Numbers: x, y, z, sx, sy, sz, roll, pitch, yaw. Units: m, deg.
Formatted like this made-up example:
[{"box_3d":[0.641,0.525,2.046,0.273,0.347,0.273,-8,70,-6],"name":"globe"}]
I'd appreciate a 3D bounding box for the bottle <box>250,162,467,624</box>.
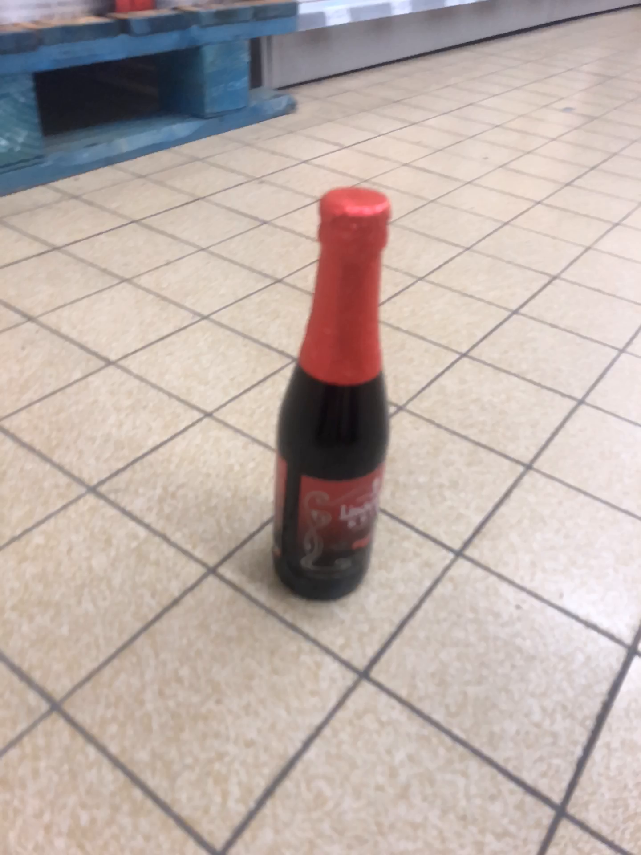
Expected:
[{"box_3d":[0.010,-0.007,0.319,0.060,0.199,0.060,3,37,-2],"name":"bottle"}]
